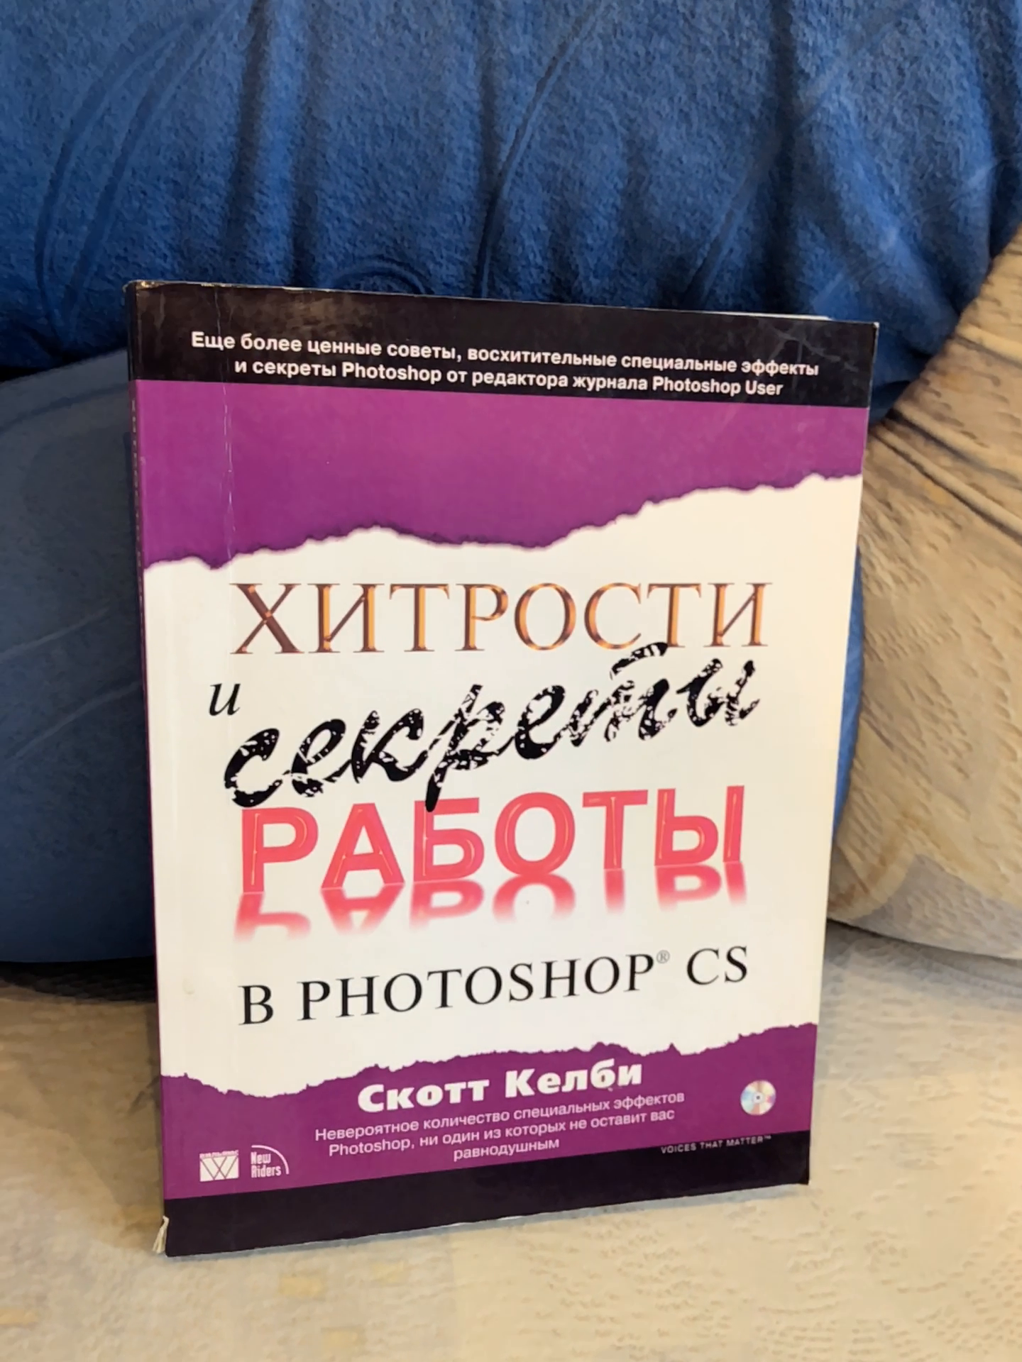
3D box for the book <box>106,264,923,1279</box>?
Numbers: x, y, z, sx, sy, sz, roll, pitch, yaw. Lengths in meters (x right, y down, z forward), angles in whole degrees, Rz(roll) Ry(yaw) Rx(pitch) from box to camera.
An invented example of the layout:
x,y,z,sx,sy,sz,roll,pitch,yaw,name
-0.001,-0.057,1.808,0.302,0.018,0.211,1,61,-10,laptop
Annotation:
x,y,z,sx,sy,sz,roll,pitch,yaw,name
0.003,0.030,0.326,0.209,0.271,0.030,-1,13,-12,book
